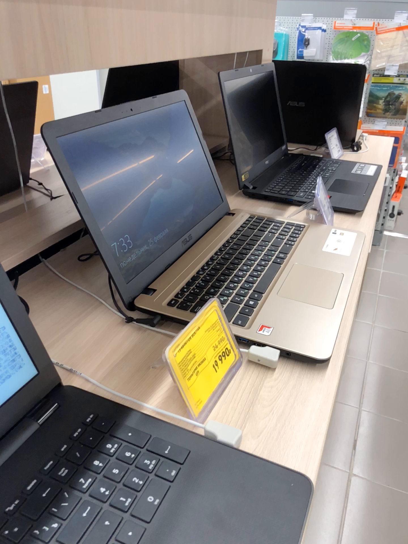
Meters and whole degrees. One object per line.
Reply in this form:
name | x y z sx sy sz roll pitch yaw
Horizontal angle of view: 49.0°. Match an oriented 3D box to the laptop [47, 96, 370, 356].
laptop | 0.038 -0.117 0.669 0.350 0.208 0.368 13 29 18
